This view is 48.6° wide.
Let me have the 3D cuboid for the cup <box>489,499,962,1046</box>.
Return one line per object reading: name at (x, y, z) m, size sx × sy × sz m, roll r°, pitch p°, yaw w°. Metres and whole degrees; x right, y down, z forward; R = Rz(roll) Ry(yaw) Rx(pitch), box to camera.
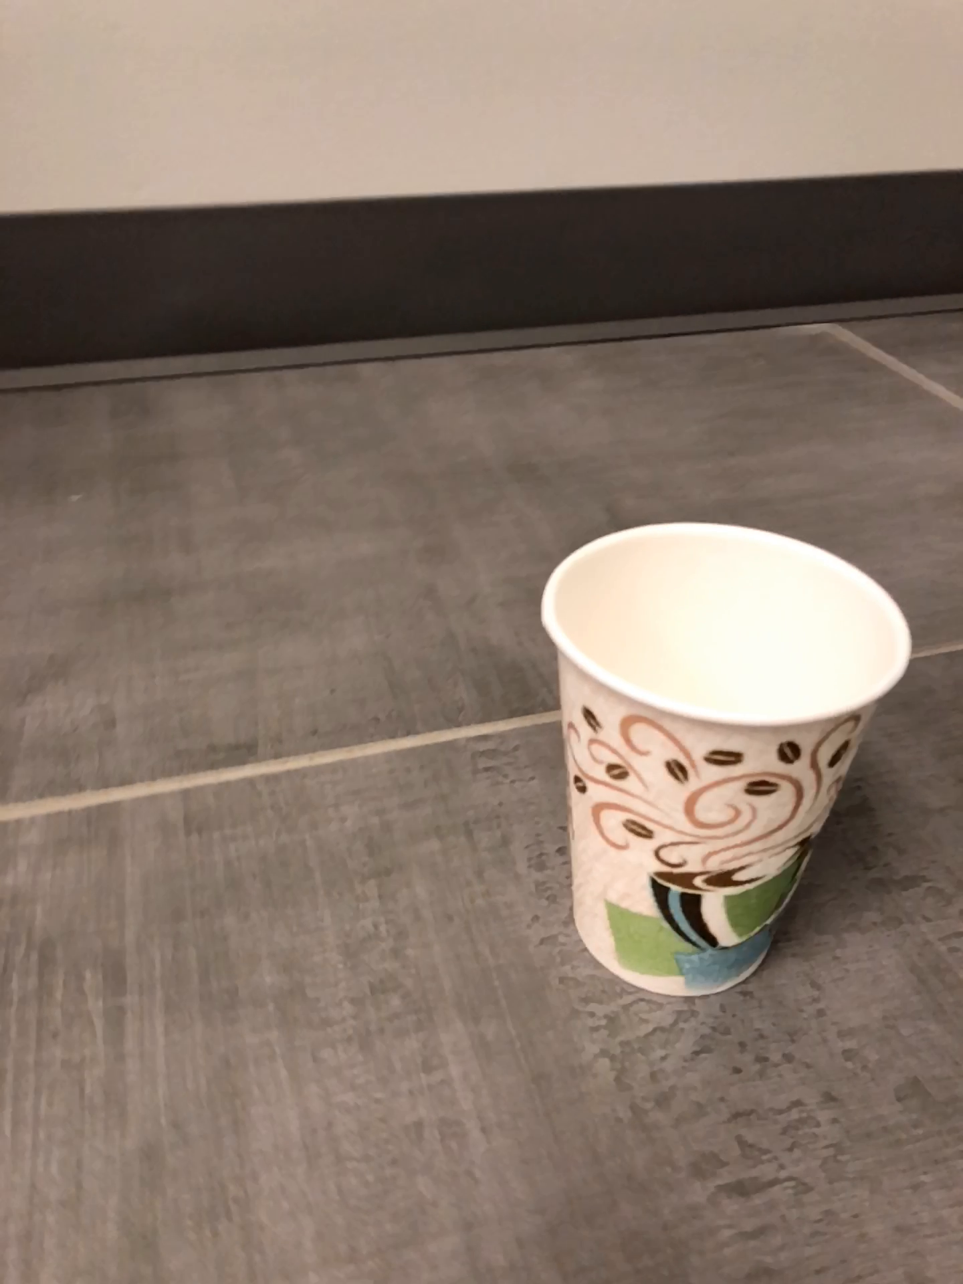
cup at (0.053, 0.030, 0.286) m, size 0.090 × 0.099 × 0.101 m, roll -2°, pitch 34°, yaw -6°
